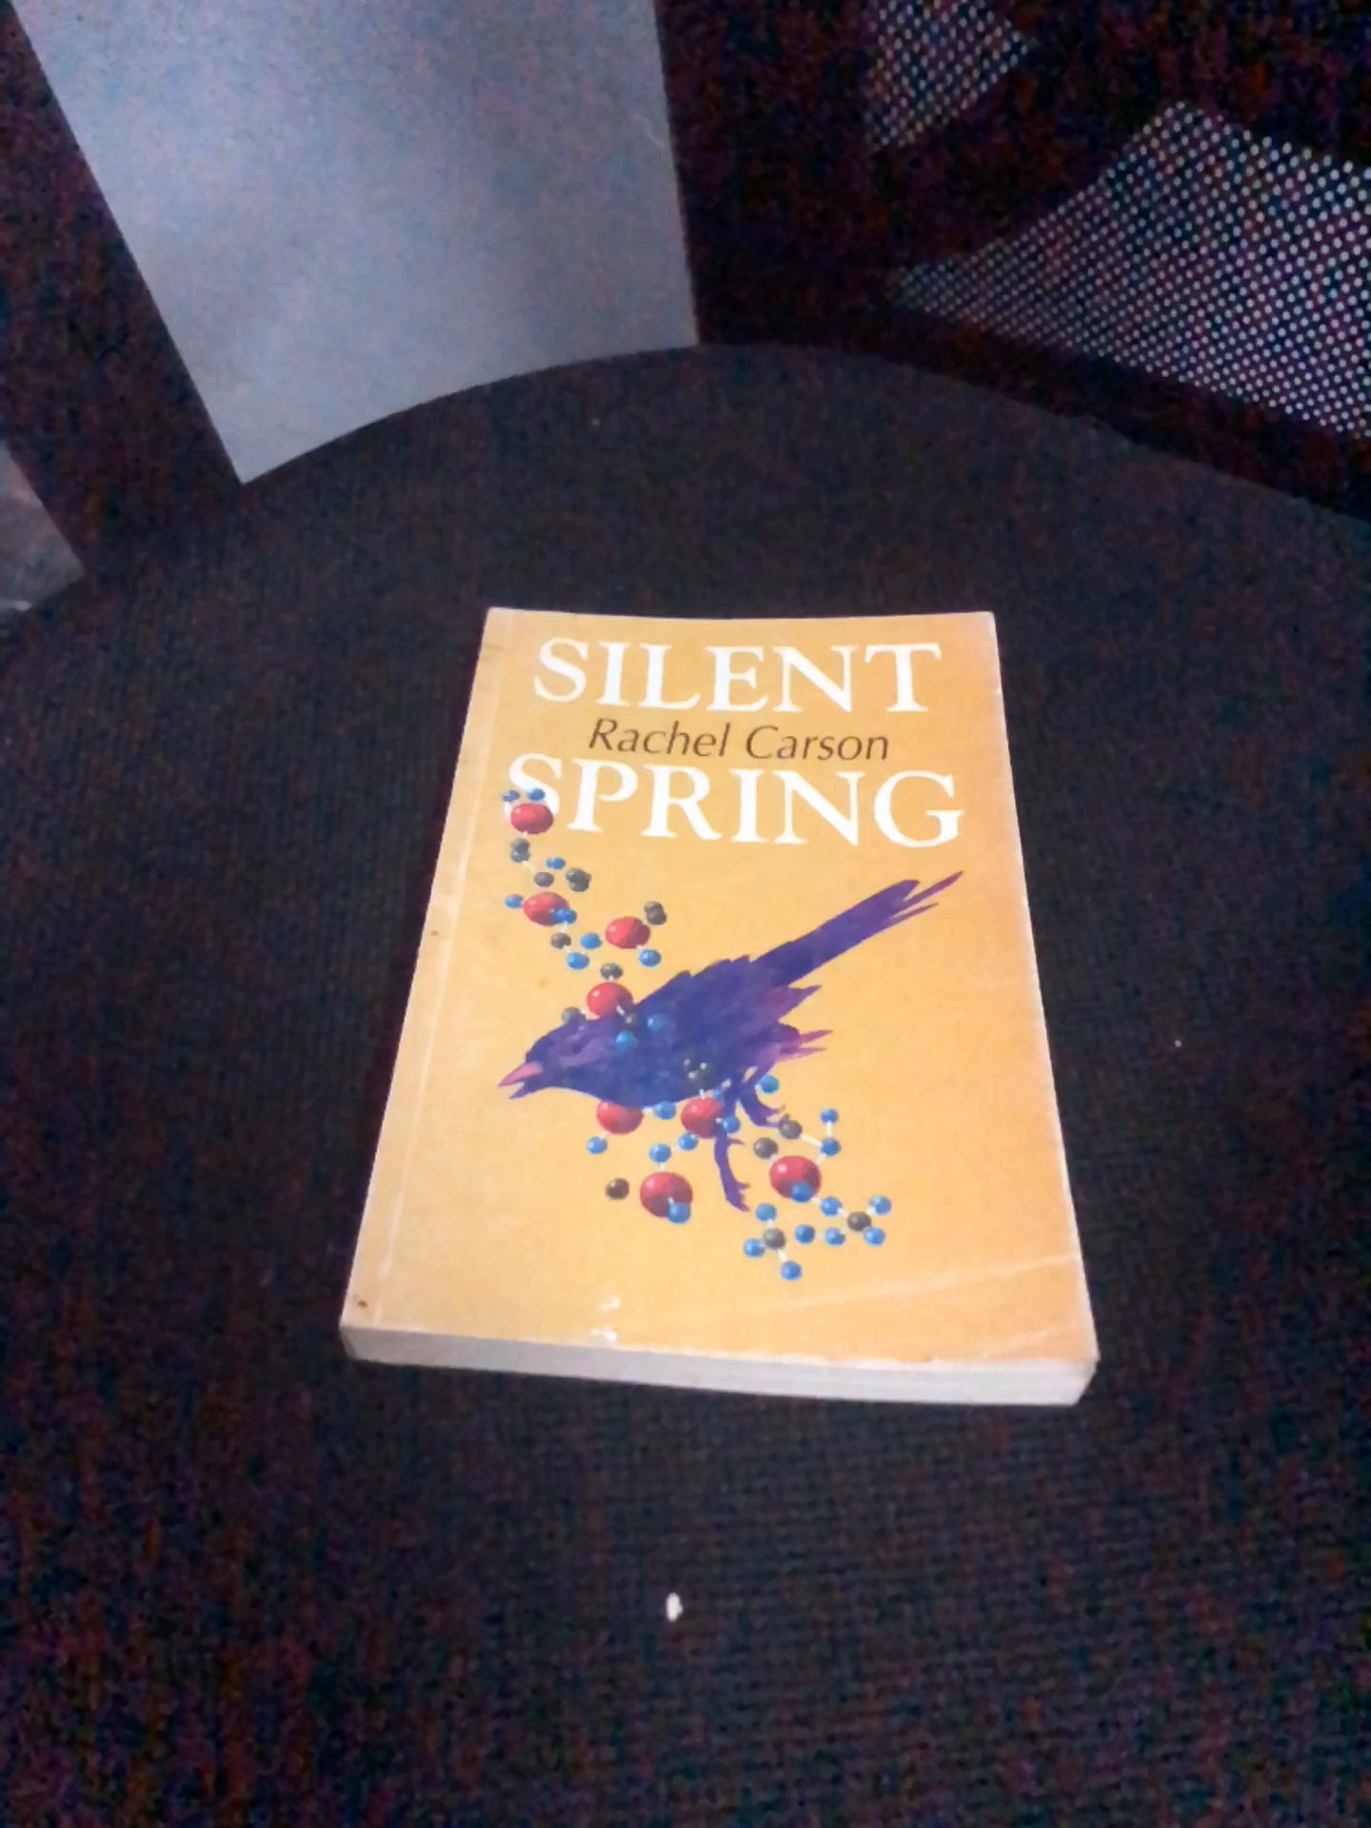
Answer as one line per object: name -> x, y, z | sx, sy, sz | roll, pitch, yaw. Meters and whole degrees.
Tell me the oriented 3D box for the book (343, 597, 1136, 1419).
book -> 0.015, 0.006, 0.368 | 0.150, 0.030, 0.221 | 1, 51, 3
